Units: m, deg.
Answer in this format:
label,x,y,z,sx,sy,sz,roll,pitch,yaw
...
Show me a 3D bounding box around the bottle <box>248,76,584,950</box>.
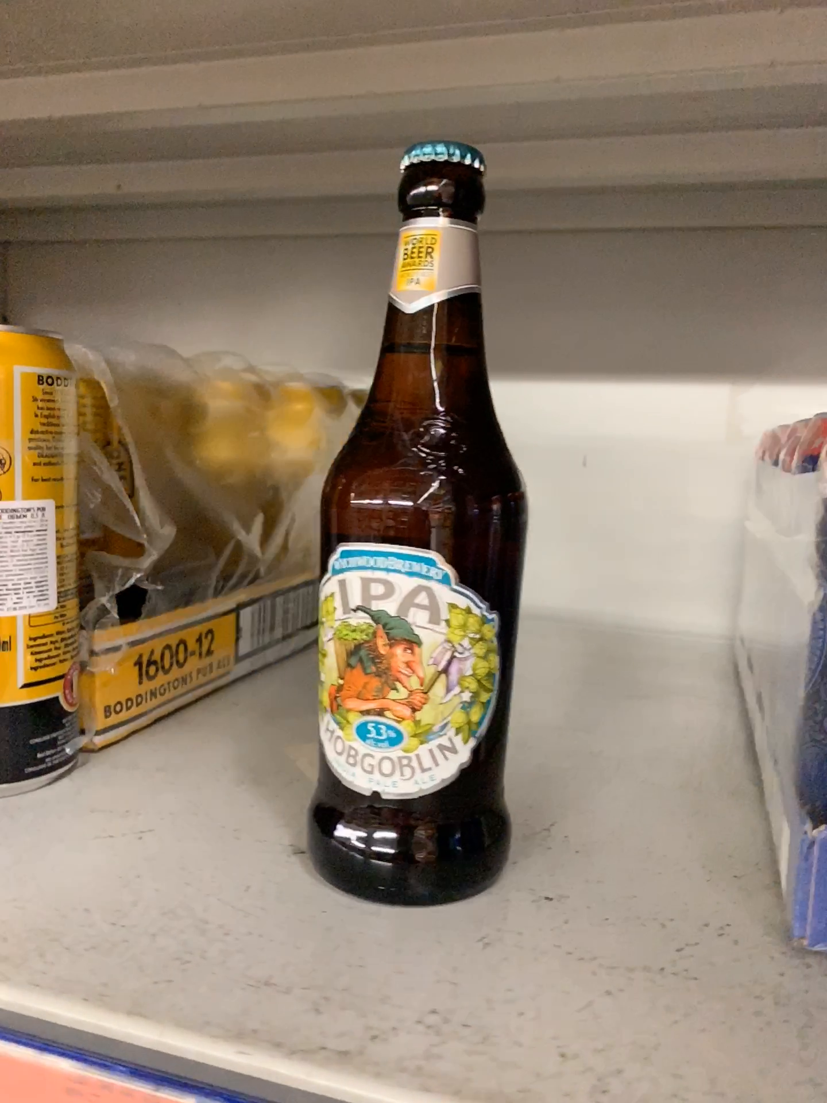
label,x,y,z,sx,sy,sz,roll,pitch,yaw
bottle,0.002,-0.011,0.298,0.080,0.250,0.080,2,6,0
